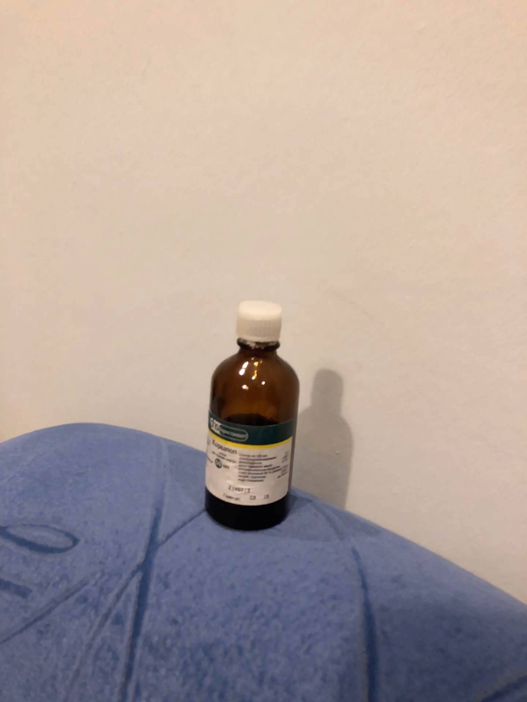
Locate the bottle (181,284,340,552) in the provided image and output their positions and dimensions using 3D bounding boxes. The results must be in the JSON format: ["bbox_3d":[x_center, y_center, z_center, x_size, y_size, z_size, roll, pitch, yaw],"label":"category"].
[{"bbox_3d":[-0.003,0.026,0.253,0.045,0.100,0.040,16,19,31],"label":"bottle"}]
